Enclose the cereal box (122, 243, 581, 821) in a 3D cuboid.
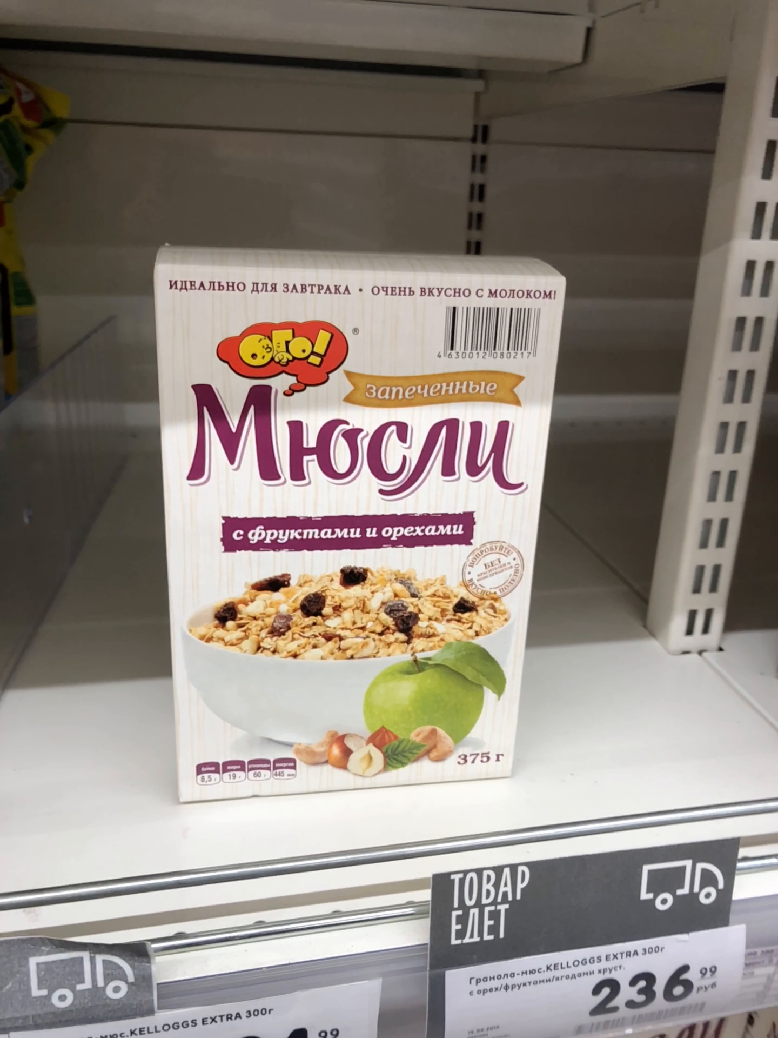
[{"bbox_3d":[-0.017,0.004,0.329,0.140,0.199,0.070,-2,21,-10],"label":"cereal box"}]
